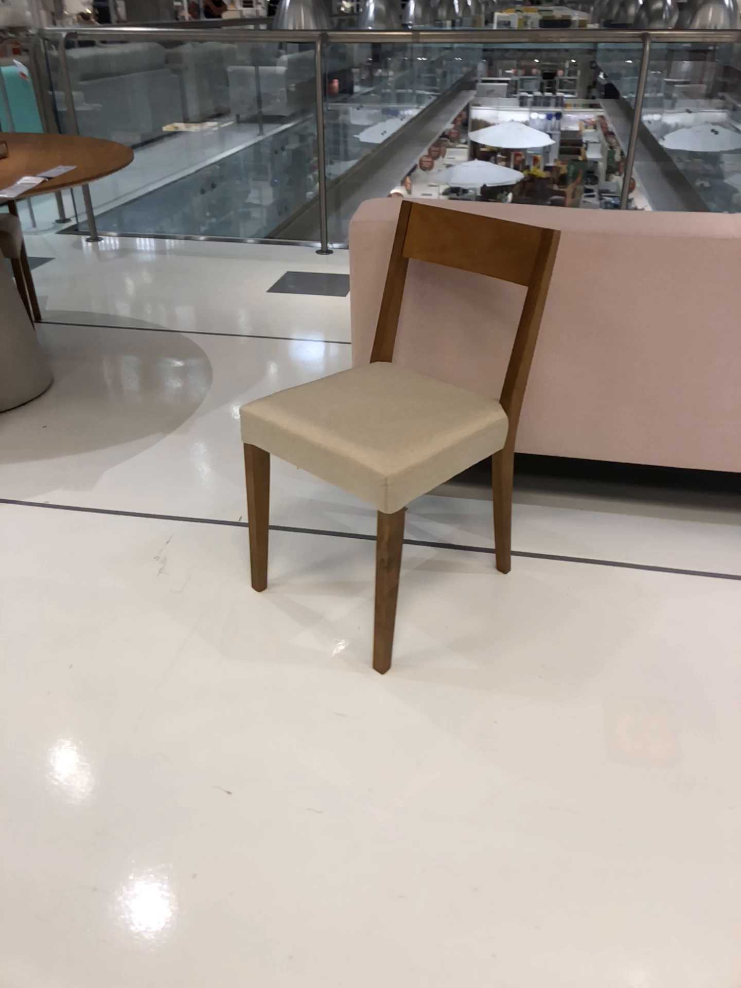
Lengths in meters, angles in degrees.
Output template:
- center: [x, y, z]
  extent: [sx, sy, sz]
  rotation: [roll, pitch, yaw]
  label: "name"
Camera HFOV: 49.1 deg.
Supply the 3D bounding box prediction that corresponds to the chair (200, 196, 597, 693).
- center: [0.062, -0.146, 1.763]
  extent: [0.592, 0.813, 0.492]
  rotation: [-26, 39, -37]
  label: "chair"
